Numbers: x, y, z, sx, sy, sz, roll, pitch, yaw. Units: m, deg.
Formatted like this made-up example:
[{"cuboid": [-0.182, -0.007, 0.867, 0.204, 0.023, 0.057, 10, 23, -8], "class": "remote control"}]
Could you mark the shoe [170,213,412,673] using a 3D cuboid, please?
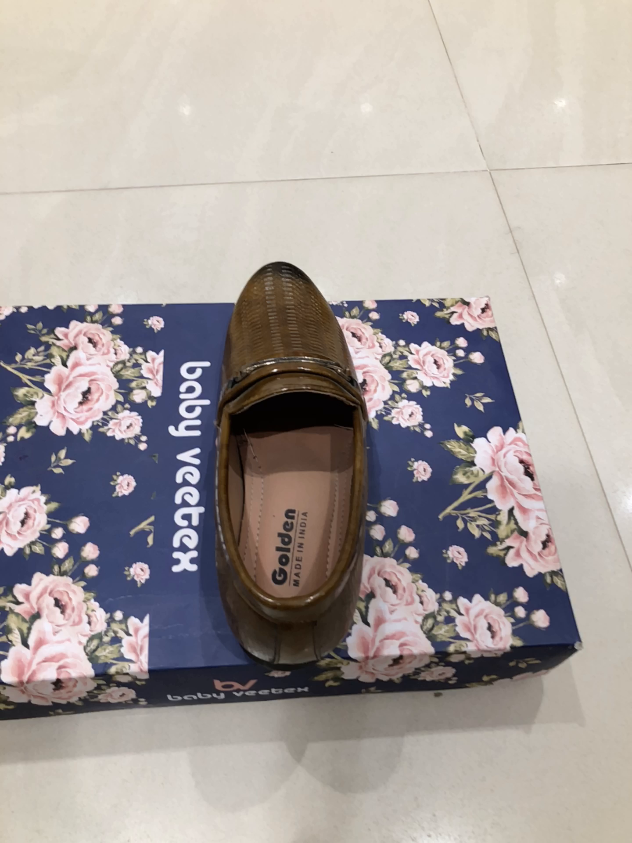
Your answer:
[{"cuboid": [-0.019, 0.004, 0.345, 0.090, 0.080, 0.211, -2, 61, -5], "class": "shoe"}]
